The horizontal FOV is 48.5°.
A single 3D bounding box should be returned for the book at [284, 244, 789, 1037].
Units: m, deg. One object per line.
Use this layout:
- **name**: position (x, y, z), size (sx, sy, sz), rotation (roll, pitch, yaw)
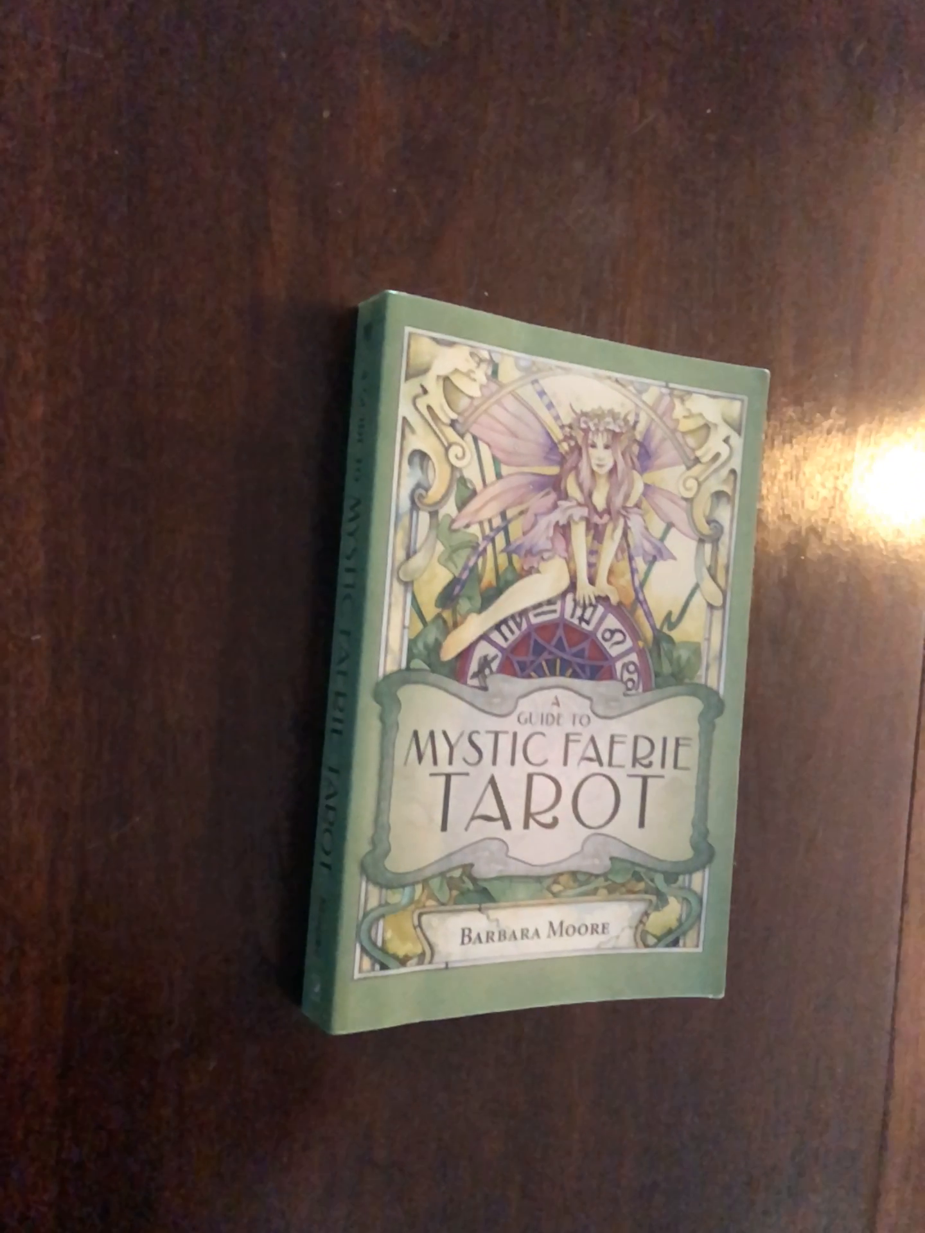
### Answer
- **book**: position (0.027, 0.012, 0.316), size (0.140, 0.032, 0.208), rotation (6, 90, -28)
